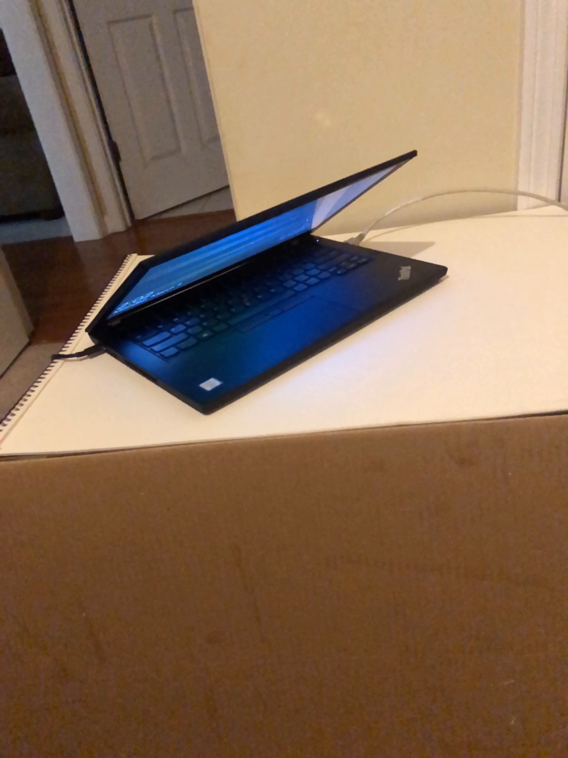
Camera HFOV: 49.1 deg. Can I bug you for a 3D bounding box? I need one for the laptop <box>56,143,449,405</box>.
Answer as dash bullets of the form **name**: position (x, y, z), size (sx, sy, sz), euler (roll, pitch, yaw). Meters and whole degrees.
- **laptop**: position (-0.025, -0.134, 0.638), size (0.317, 0.115, 0.227), euler (-30, 36, -29)
